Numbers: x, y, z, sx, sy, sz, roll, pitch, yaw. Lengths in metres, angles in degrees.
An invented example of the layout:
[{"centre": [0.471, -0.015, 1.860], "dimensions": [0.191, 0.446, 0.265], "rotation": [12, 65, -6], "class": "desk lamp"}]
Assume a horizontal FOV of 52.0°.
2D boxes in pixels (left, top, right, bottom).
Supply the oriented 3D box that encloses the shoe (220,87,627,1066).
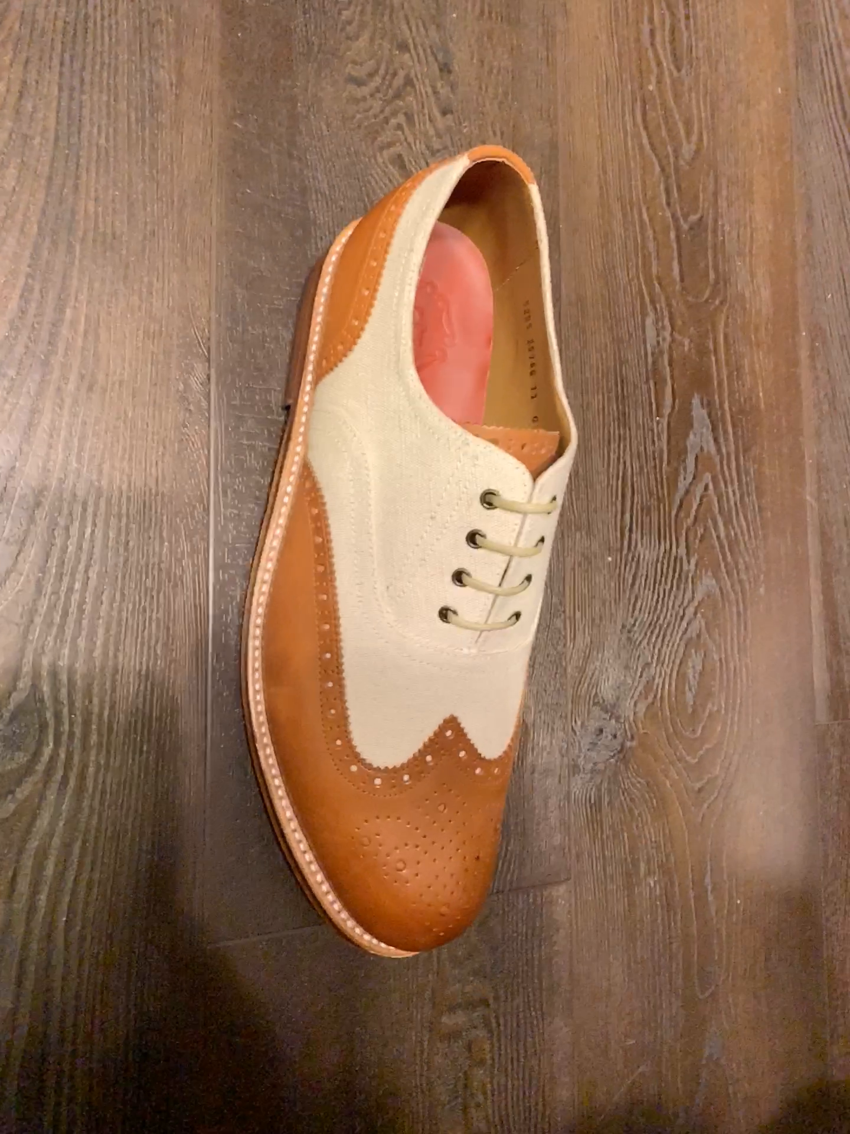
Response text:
[{"centre": [-0.004, 0.002, 0.345], "dimensions": [0.110, 0.120, 0.300], "rotation": [4, 84, -28], "class": "shoe"}]
